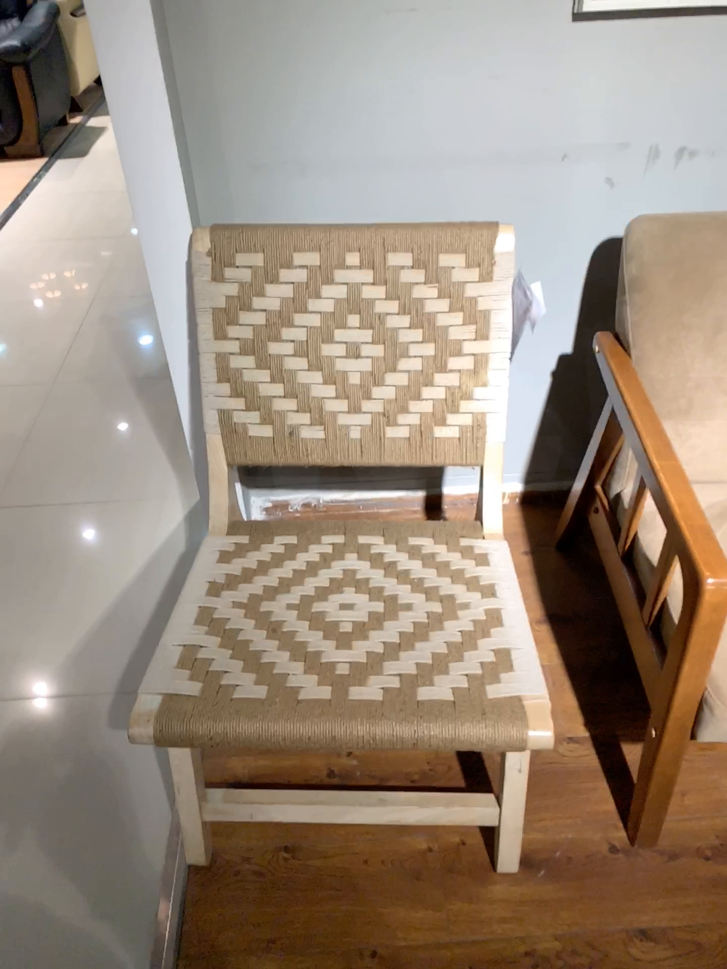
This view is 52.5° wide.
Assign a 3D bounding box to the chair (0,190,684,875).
[{"bbox_3d":[-0.020,0.086,1.167,0.630,0.847,0.662,0,40,2],"label":"chair"}]
